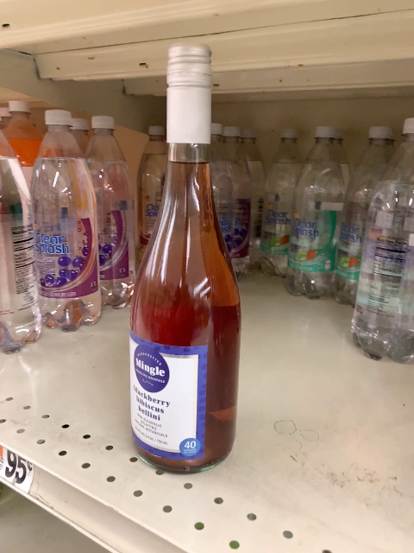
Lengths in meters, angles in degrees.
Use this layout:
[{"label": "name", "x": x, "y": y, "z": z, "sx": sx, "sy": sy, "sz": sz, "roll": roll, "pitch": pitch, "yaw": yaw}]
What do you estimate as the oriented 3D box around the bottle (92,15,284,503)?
[{"label": "bottle", "x": -0.013, "y": -0.004, "z": 0.309, "sx": 0.090, "sy": 0.299, "sz": 0.080, "roll": 13, "pitch": 20, "yaw": 35}]
